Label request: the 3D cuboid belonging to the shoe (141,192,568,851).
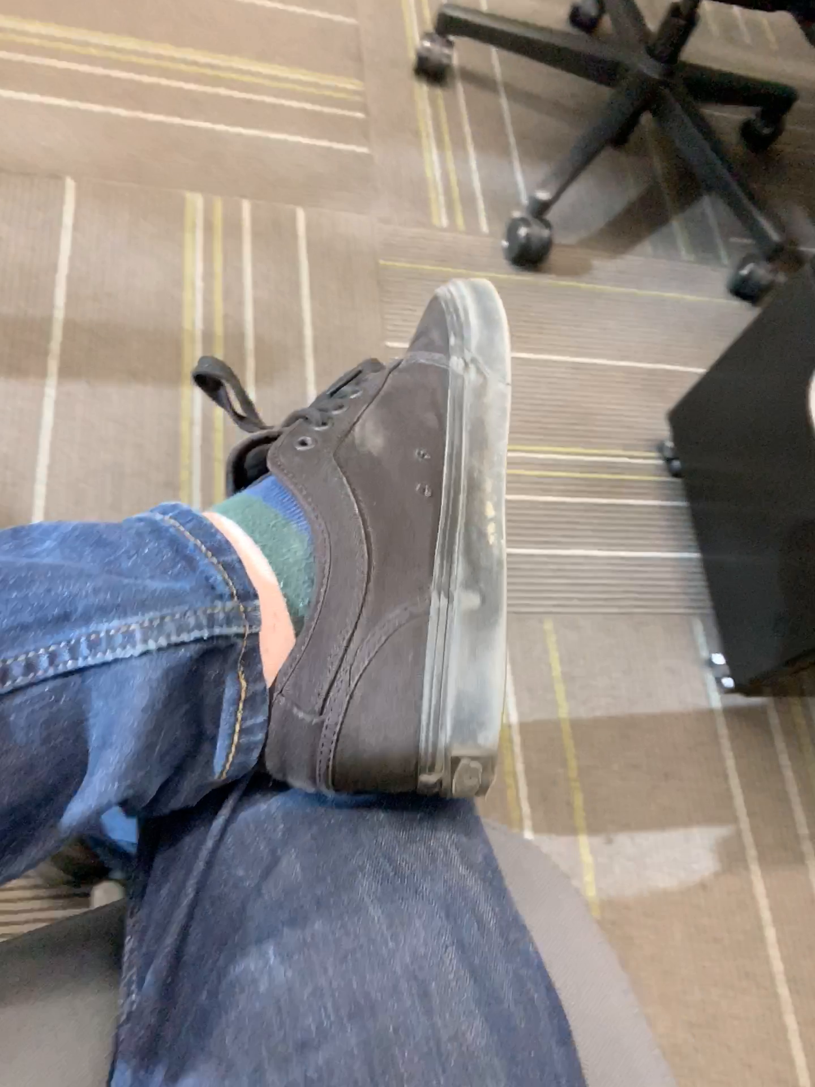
[{"bbox_3d":[-0.012,-0.012,0.386,0.134,0.120,0.261,9,62,-3],"label":"shoe"}]
